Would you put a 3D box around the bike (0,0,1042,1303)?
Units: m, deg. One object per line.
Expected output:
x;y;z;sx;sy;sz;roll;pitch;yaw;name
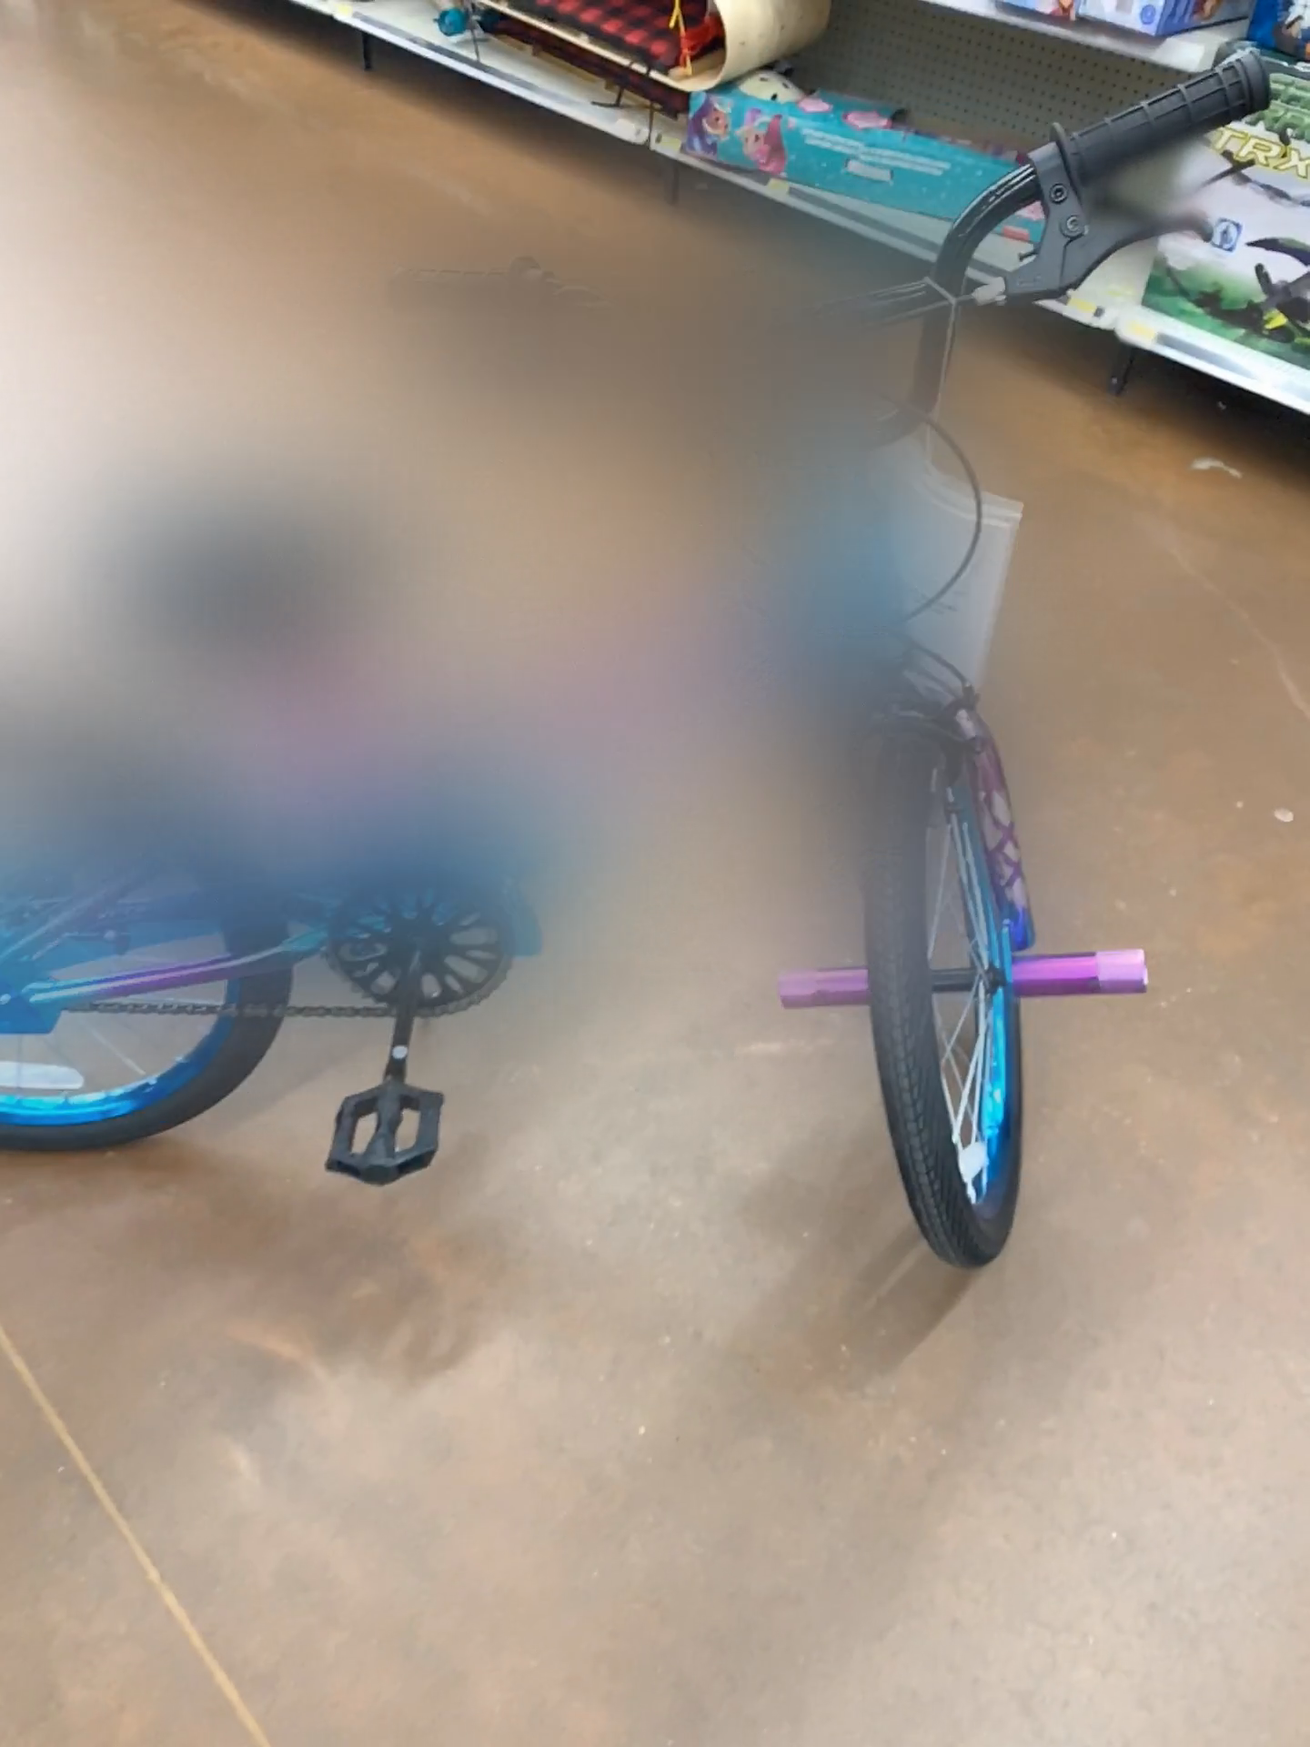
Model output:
-0.327;-0.162;1.044;0.933;0.931;0.580;2;45;-3;bike
